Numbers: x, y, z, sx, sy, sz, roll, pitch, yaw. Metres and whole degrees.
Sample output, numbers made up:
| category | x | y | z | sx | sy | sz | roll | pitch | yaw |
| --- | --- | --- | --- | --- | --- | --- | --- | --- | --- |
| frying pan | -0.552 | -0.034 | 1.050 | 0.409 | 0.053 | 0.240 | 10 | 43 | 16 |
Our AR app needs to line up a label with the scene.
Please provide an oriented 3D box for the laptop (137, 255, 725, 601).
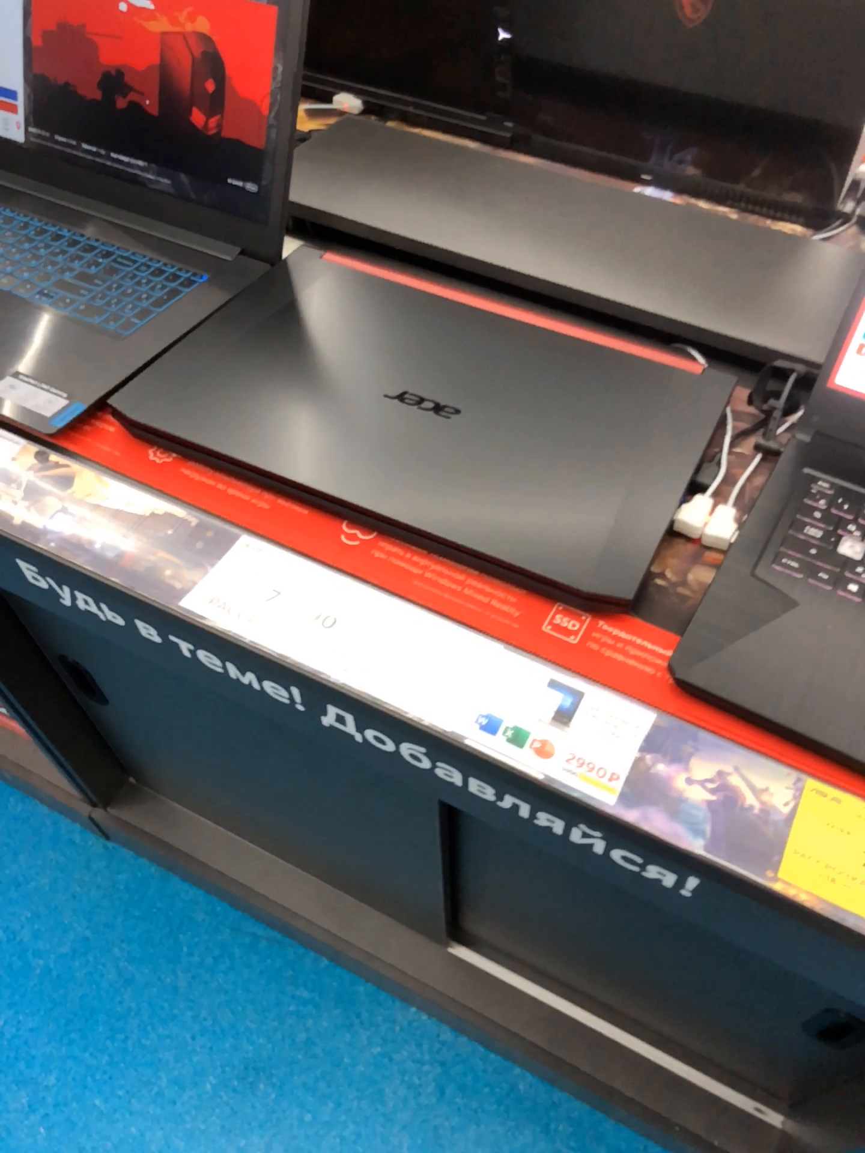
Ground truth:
| category | x | y | z | sx | sy | sz | roll | pitch | yaw |
| --- | --- | --- | --- | --- | --- | --- | --- | --- | --- |
| laptop | 0.010 | -0.135 | 0.715 | 0.370 | 0.002 | 0.256 | 22 | 49 | 14 |
